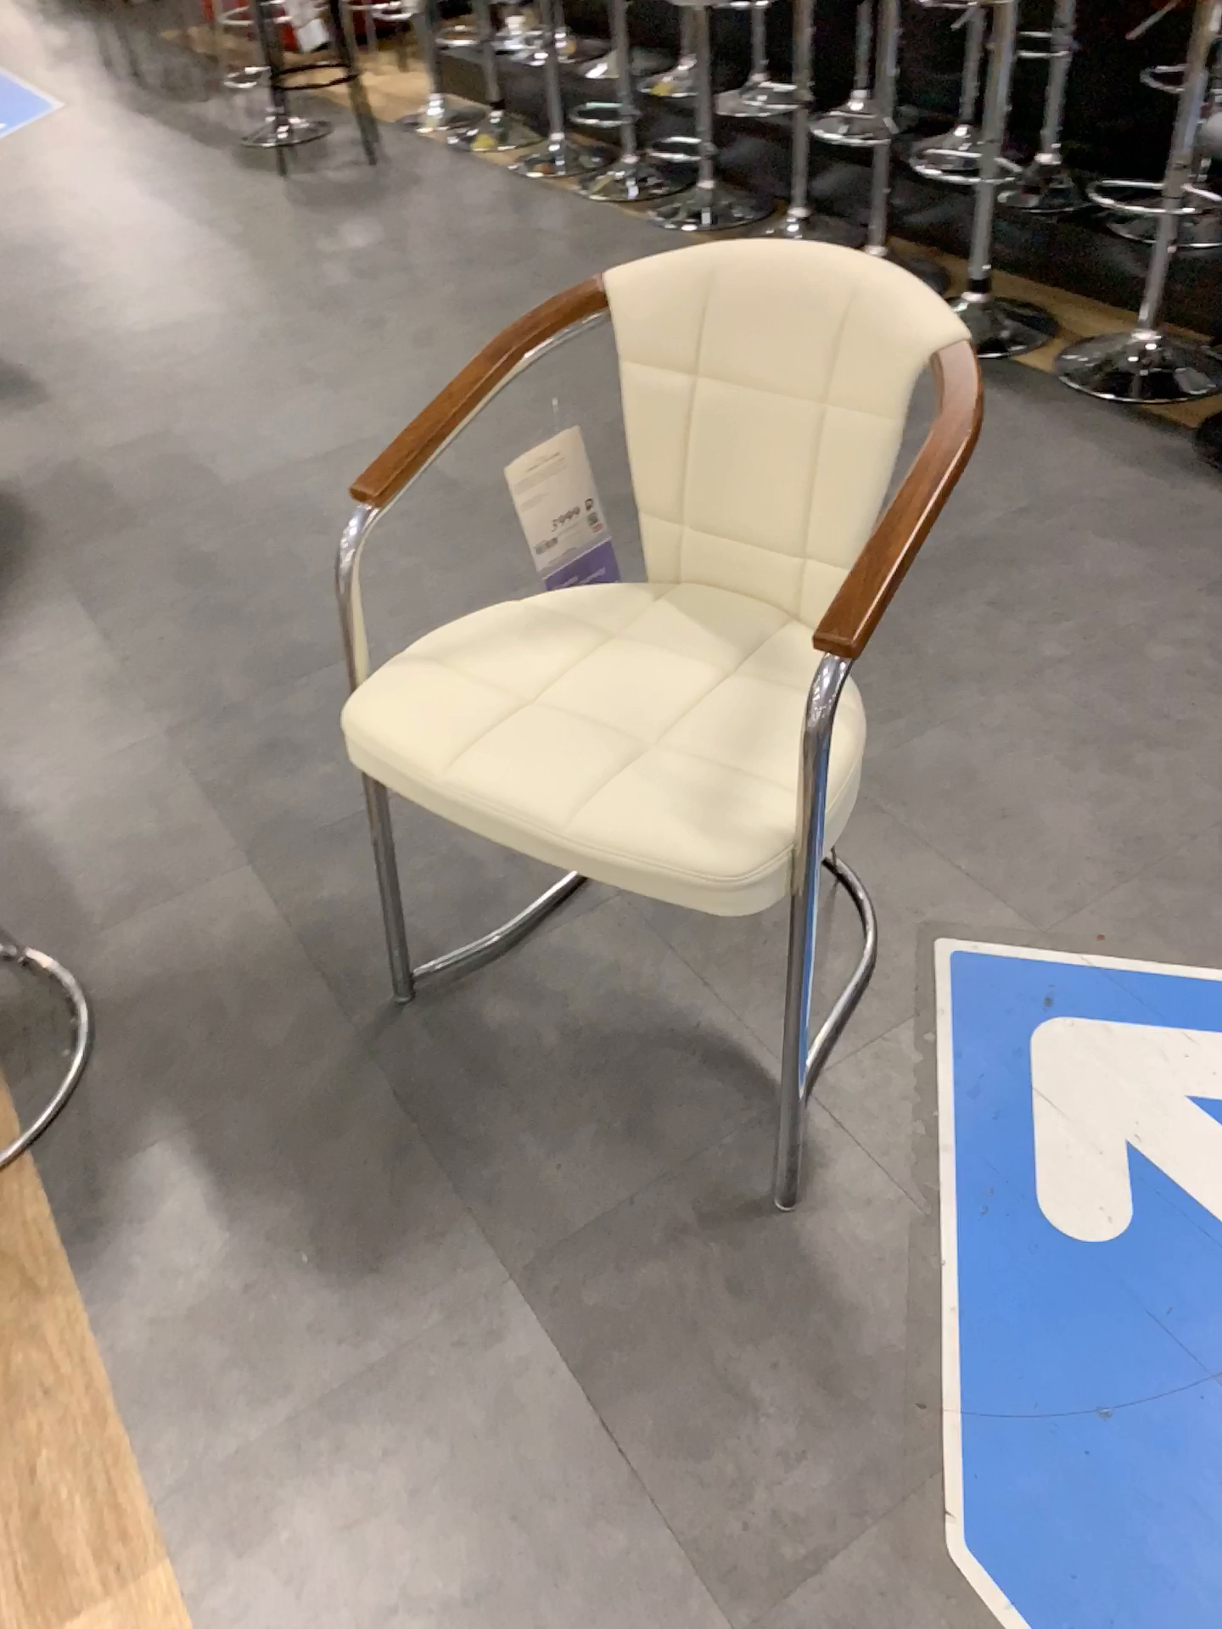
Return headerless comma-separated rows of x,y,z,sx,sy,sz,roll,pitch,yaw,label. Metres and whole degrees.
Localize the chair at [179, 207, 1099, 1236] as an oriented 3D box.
0.074,-0.125,1.400,0.601,0.815,0.602,21,48,28,chair
